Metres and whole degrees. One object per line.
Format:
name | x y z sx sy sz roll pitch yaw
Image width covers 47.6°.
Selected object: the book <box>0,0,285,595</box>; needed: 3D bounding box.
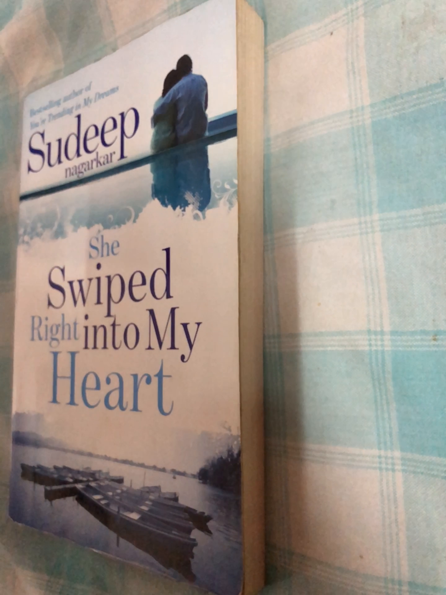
book | -0.041 -0.007 0.205 0.130 0.030 0.210 -3 85 37
